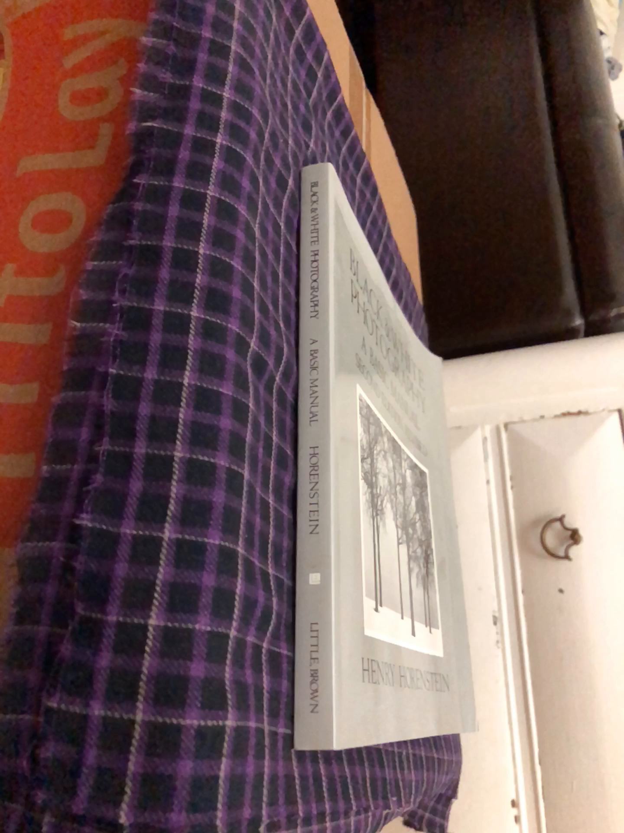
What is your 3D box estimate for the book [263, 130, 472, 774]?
[{"bbox_3d":[0.037,0.030,0.349,0.211,0.030,0.250,45,40,-59],"label":"book"}]
